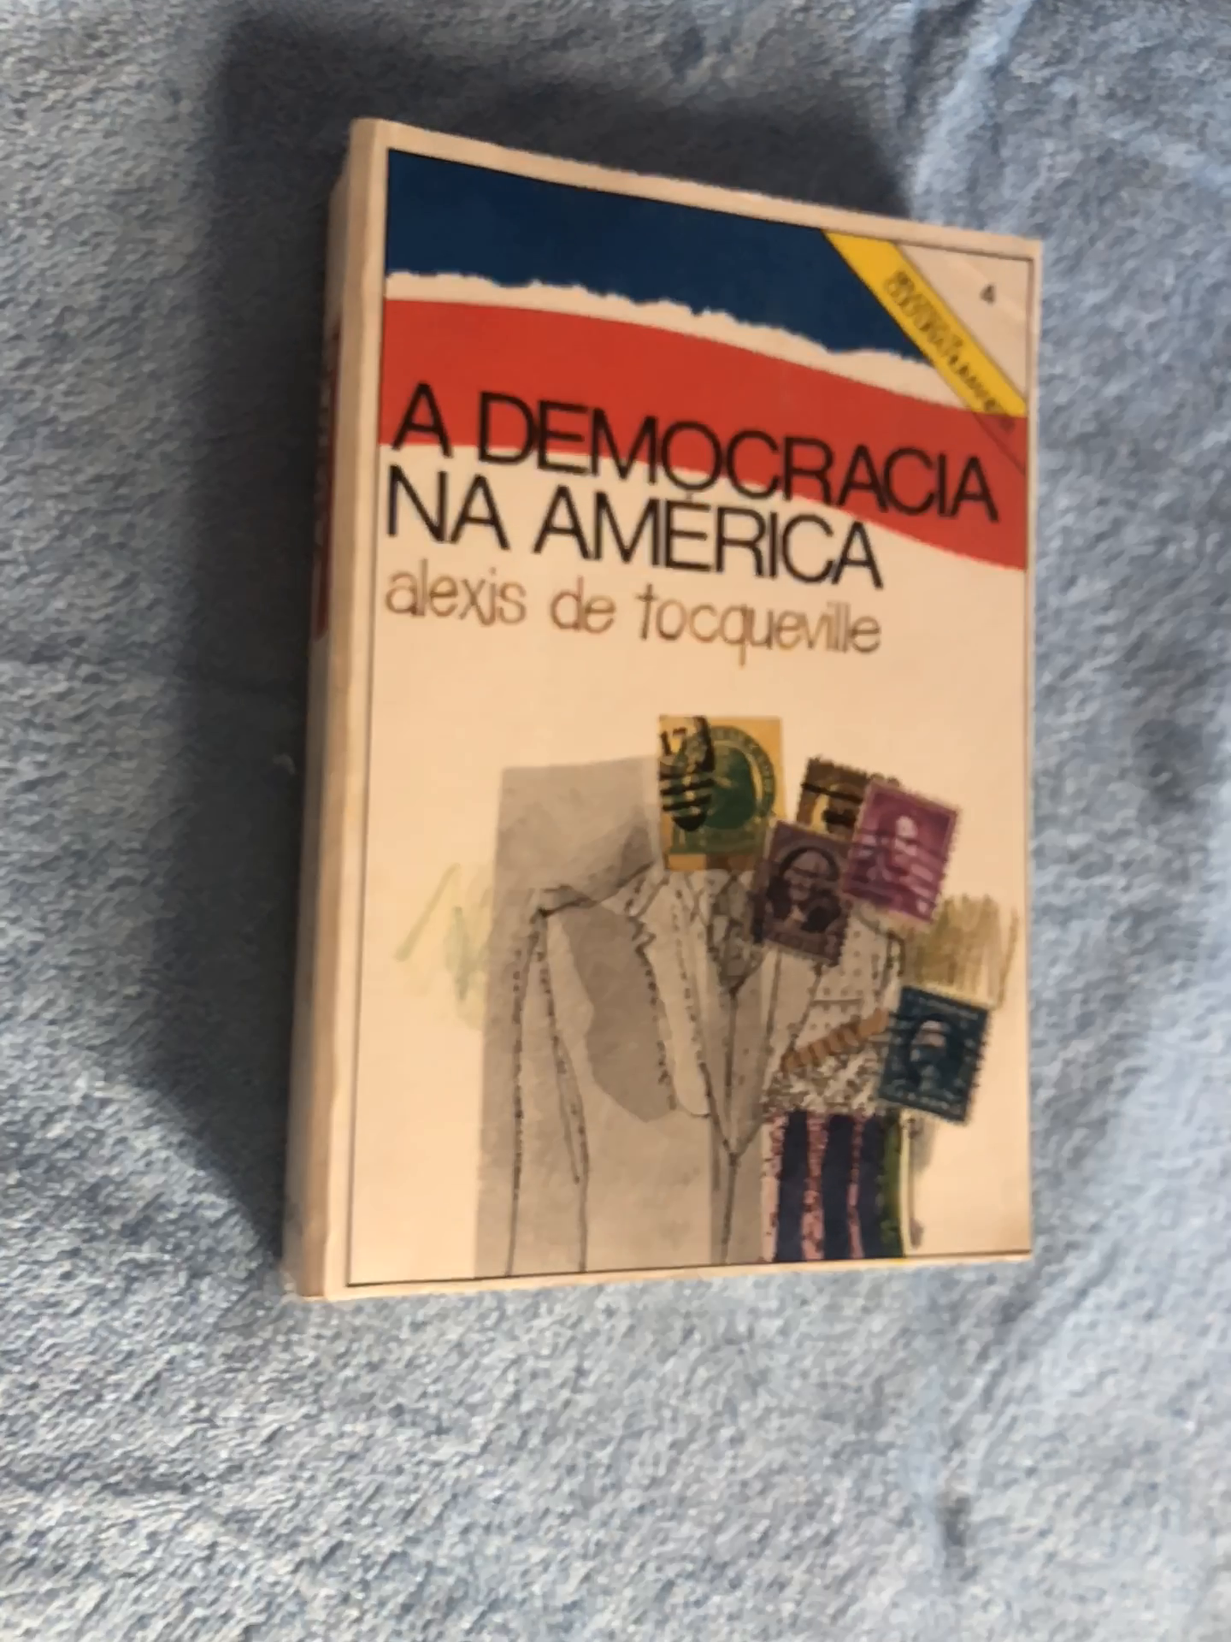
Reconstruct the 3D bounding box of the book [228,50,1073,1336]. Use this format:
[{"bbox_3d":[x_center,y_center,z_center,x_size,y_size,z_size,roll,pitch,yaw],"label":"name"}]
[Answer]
[{"bbox_3d":[0.007,-0.017,0.261,0.140,0.050,0.200,3,88,-17],"label":"book"}]
